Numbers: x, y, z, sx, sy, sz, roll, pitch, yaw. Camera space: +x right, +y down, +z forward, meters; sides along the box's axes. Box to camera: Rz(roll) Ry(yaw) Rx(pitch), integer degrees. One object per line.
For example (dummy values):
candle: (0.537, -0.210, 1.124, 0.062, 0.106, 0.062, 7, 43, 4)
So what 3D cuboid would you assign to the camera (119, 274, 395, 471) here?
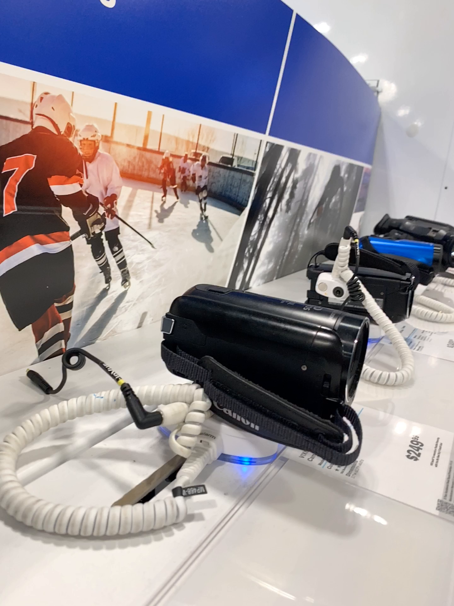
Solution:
camera: (0.016, 0.029, 0.277, 0.139, 0.062, 0.072, 13, 15, 26)
